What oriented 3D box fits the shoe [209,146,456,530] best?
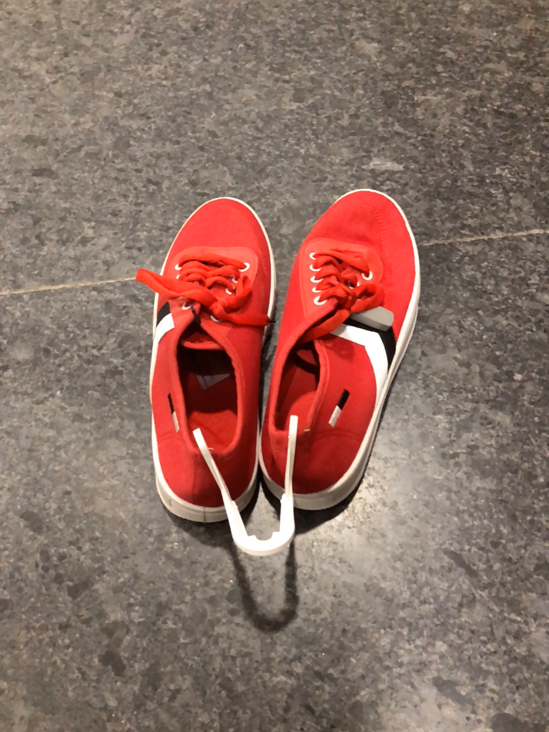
[{"bbox_3d":[0.047,-0.026,0.412,0.103,0.090,0.234,12,63,10],"label":"shoe"}]

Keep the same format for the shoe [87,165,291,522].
[{"bbox_3d":[-0.044,-0.020,0.420,0.101,0.090,0.233,0,61,4],"label":"shoe"}]
